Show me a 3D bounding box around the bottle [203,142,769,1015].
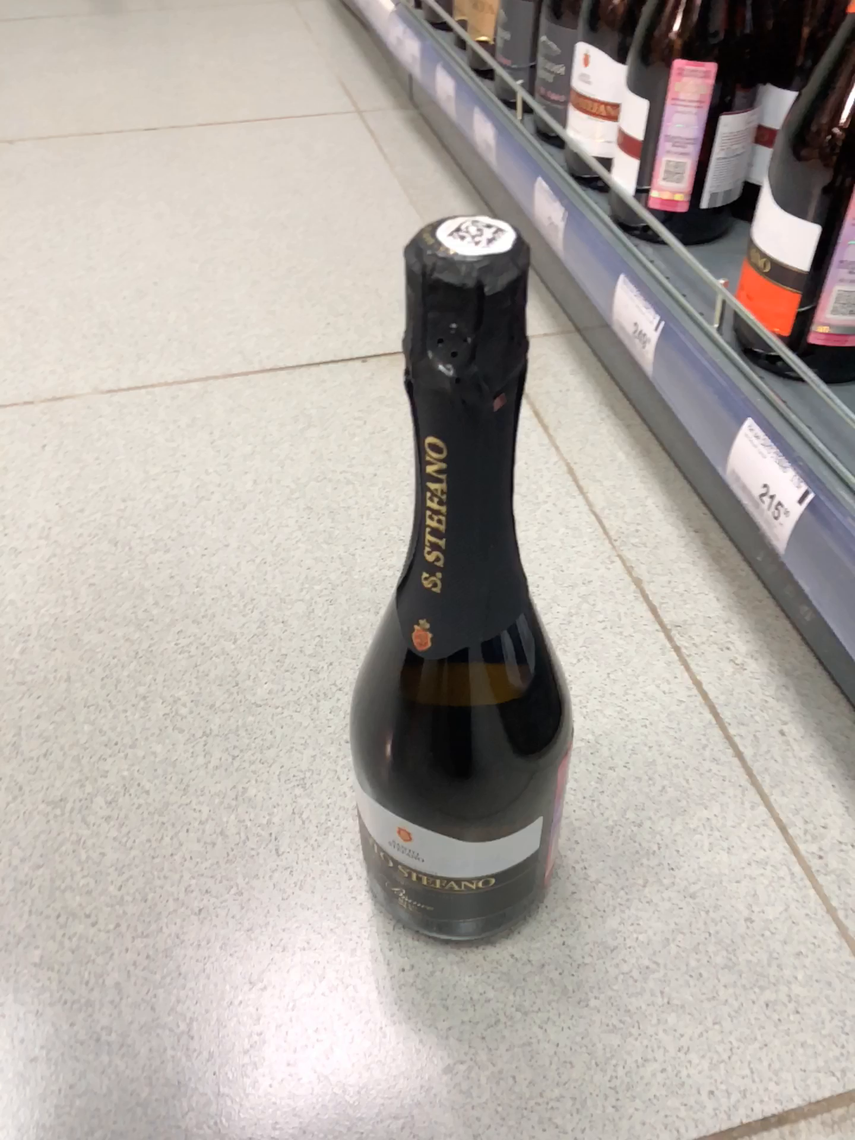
[{"bbox_3d":[0.018,0.024,0.343,0.110,0.298,0.100,0,42,0],"label":"bottle"}]
